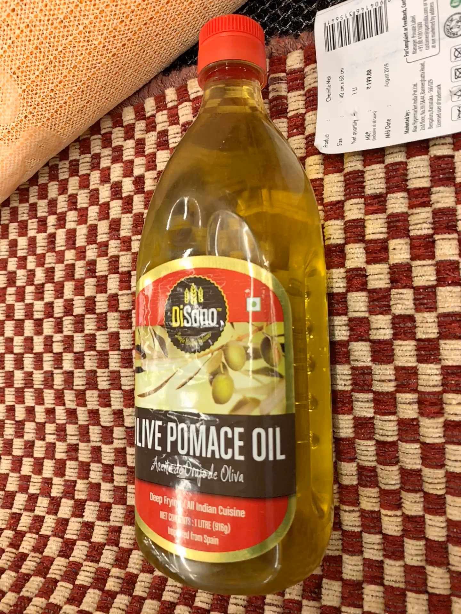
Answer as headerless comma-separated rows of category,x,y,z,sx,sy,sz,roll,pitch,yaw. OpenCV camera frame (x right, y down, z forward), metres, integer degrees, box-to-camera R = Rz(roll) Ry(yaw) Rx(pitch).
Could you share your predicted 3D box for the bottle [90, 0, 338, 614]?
bottle,0.000,-0.001,0.211,0.080,0.080,0.210,-1,86,22
